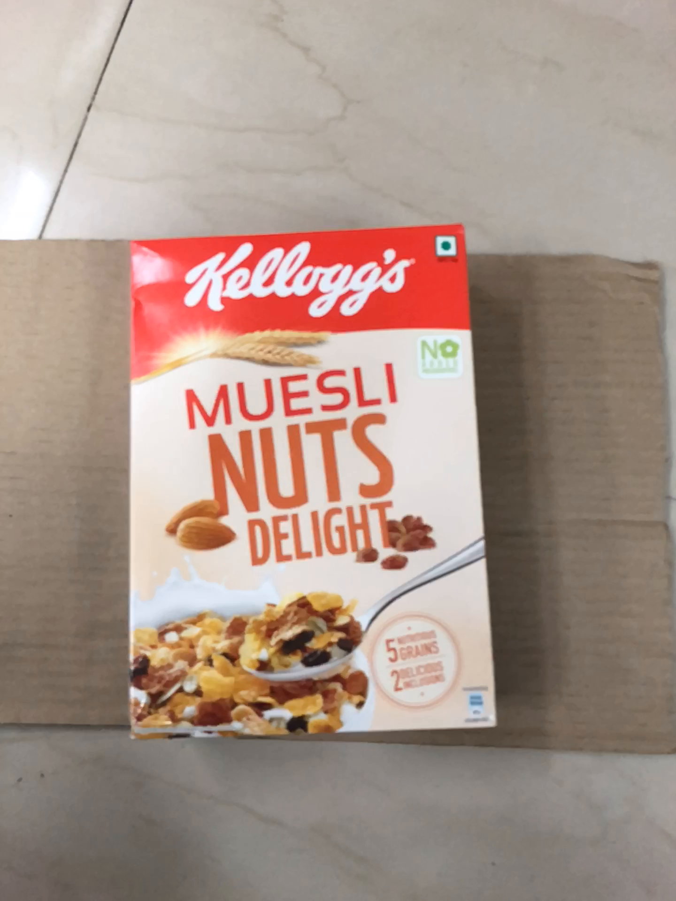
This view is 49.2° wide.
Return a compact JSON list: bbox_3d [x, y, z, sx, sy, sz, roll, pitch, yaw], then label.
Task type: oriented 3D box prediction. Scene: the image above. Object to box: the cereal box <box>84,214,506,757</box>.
[{"bbox_3d":[-0.023,0.017,0.395,0.190,0.080,0.250,-3,86,1],"label":"cereal box"}]
